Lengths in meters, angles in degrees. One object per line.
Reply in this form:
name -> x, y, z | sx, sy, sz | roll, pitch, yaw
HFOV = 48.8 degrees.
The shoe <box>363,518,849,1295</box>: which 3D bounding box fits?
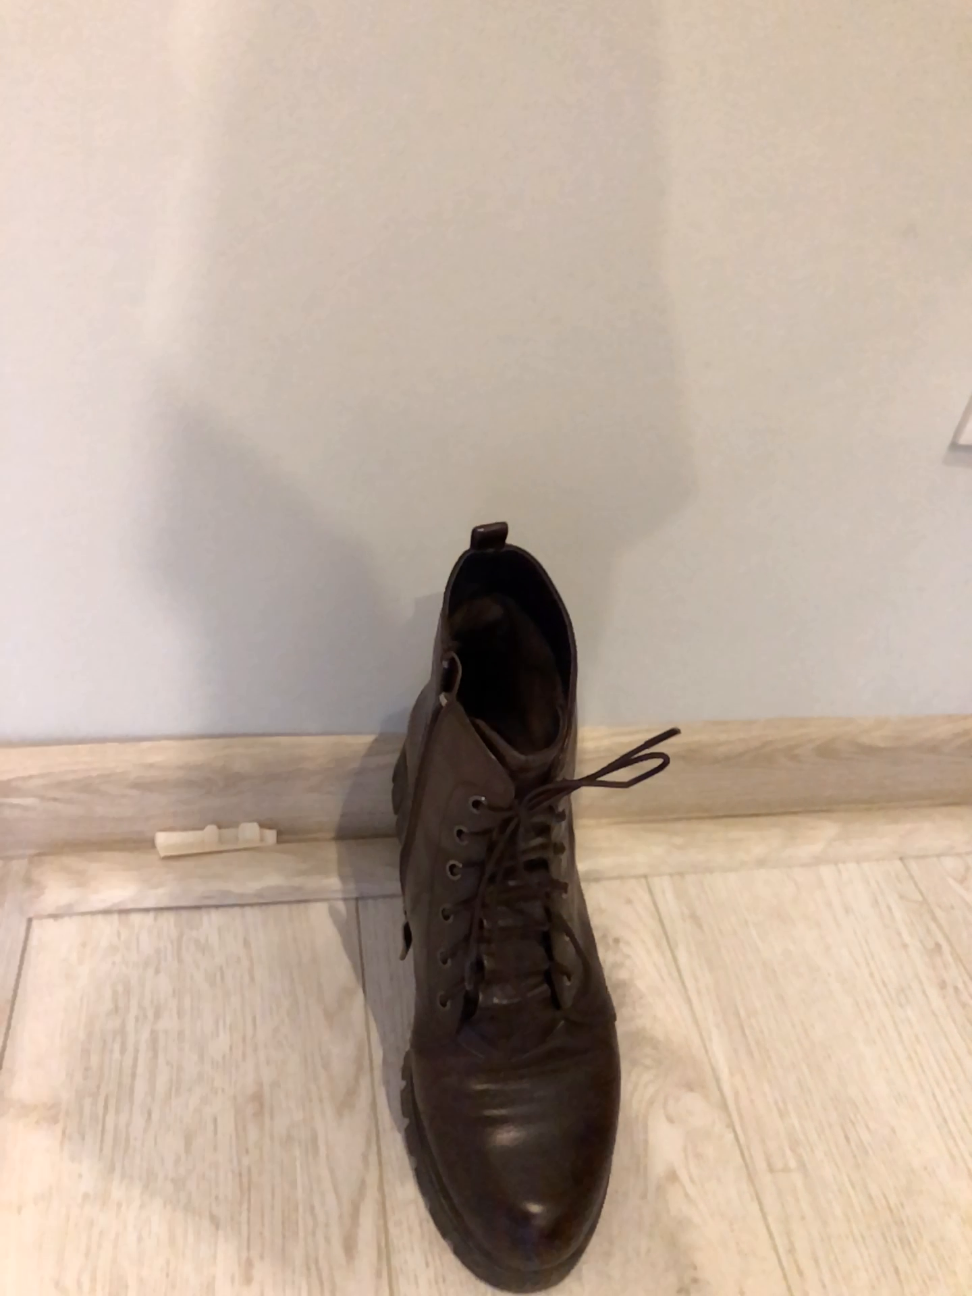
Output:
shoe -> 0.019, 0.107, 0.433 | 0.100, 0.179, 0.262 | -3, 58, -13
